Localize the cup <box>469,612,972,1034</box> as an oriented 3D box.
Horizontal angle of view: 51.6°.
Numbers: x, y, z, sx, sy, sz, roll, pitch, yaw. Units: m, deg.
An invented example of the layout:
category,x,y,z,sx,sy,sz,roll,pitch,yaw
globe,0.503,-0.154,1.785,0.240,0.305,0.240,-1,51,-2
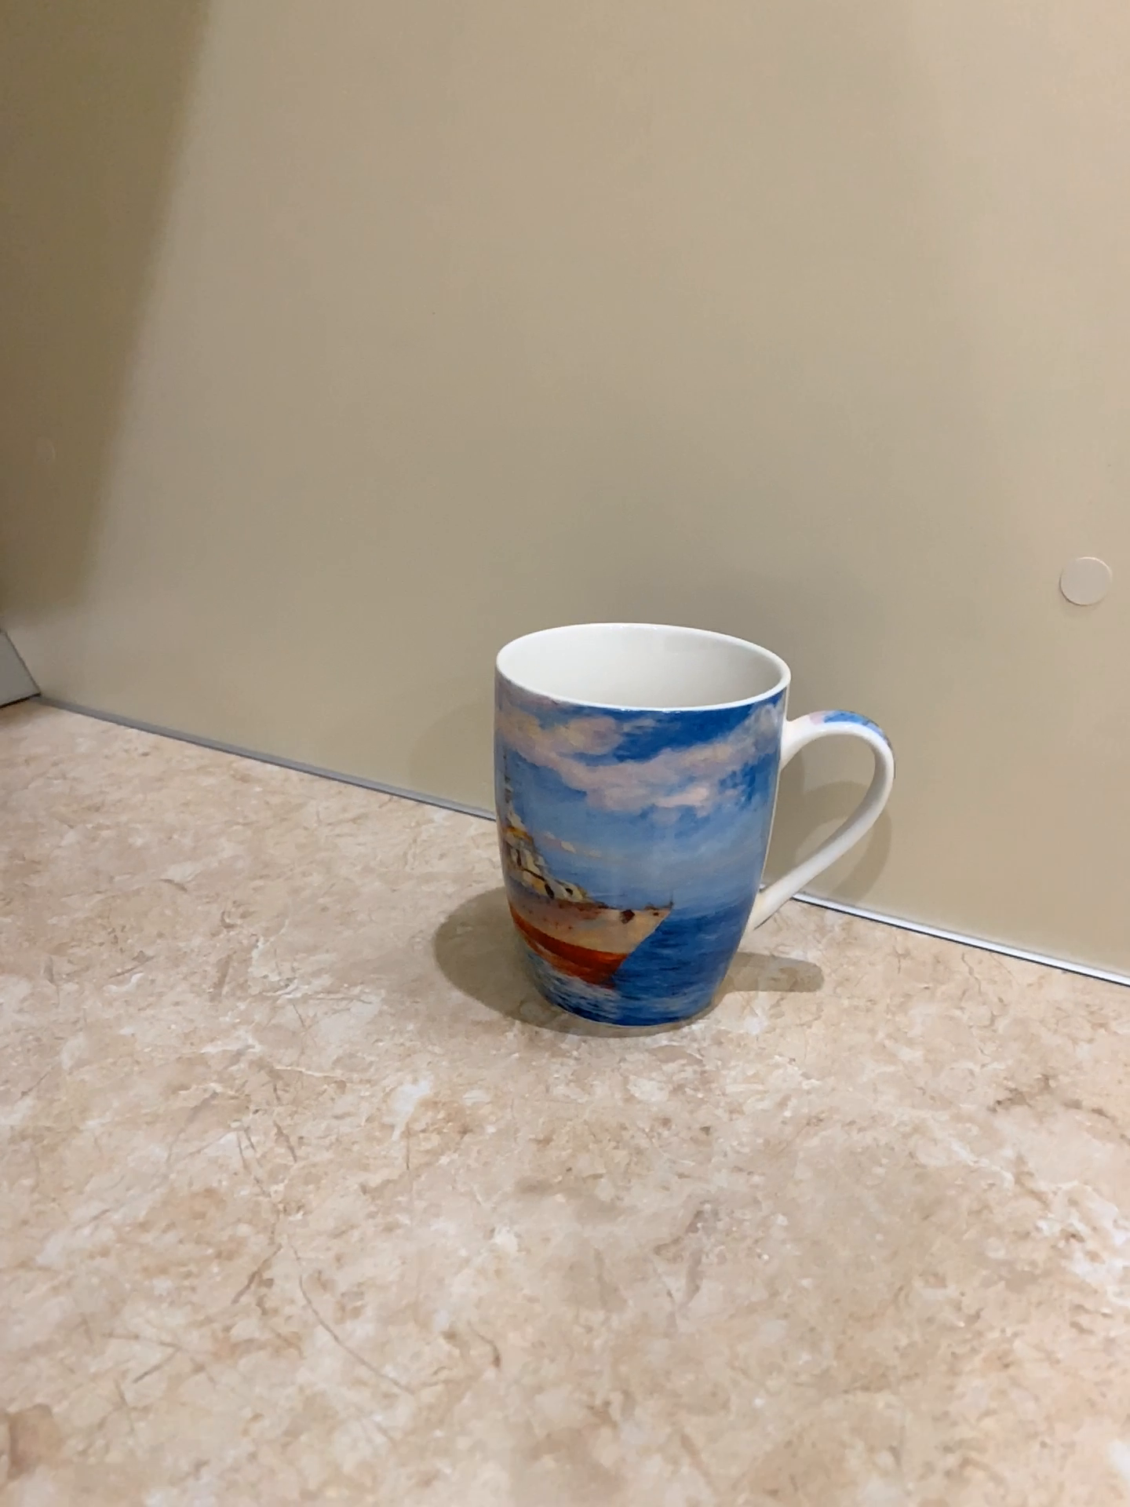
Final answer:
category,x,y,z,sx,sy,sz,roll,pitch,yaw
cup,0.033,0.014,0.325,0.114,0.087,0.083,-1,21,-8
